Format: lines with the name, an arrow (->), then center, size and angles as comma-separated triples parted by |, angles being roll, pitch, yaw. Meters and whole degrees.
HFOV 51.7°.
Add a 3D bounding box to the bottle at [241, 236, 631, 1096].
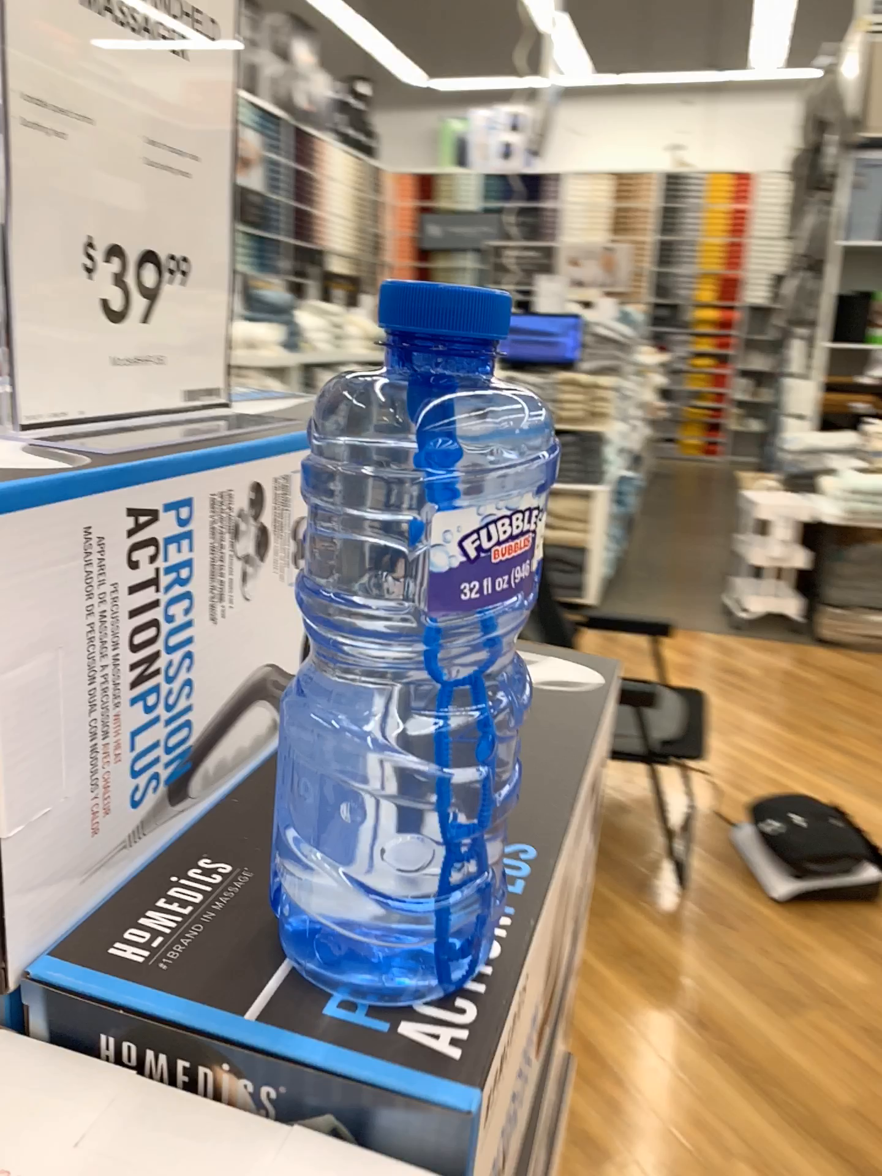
bottle -> -0.005, 0.020, 0.297 | 0.081, 0.243, 0.081 | 2, 15, -1
